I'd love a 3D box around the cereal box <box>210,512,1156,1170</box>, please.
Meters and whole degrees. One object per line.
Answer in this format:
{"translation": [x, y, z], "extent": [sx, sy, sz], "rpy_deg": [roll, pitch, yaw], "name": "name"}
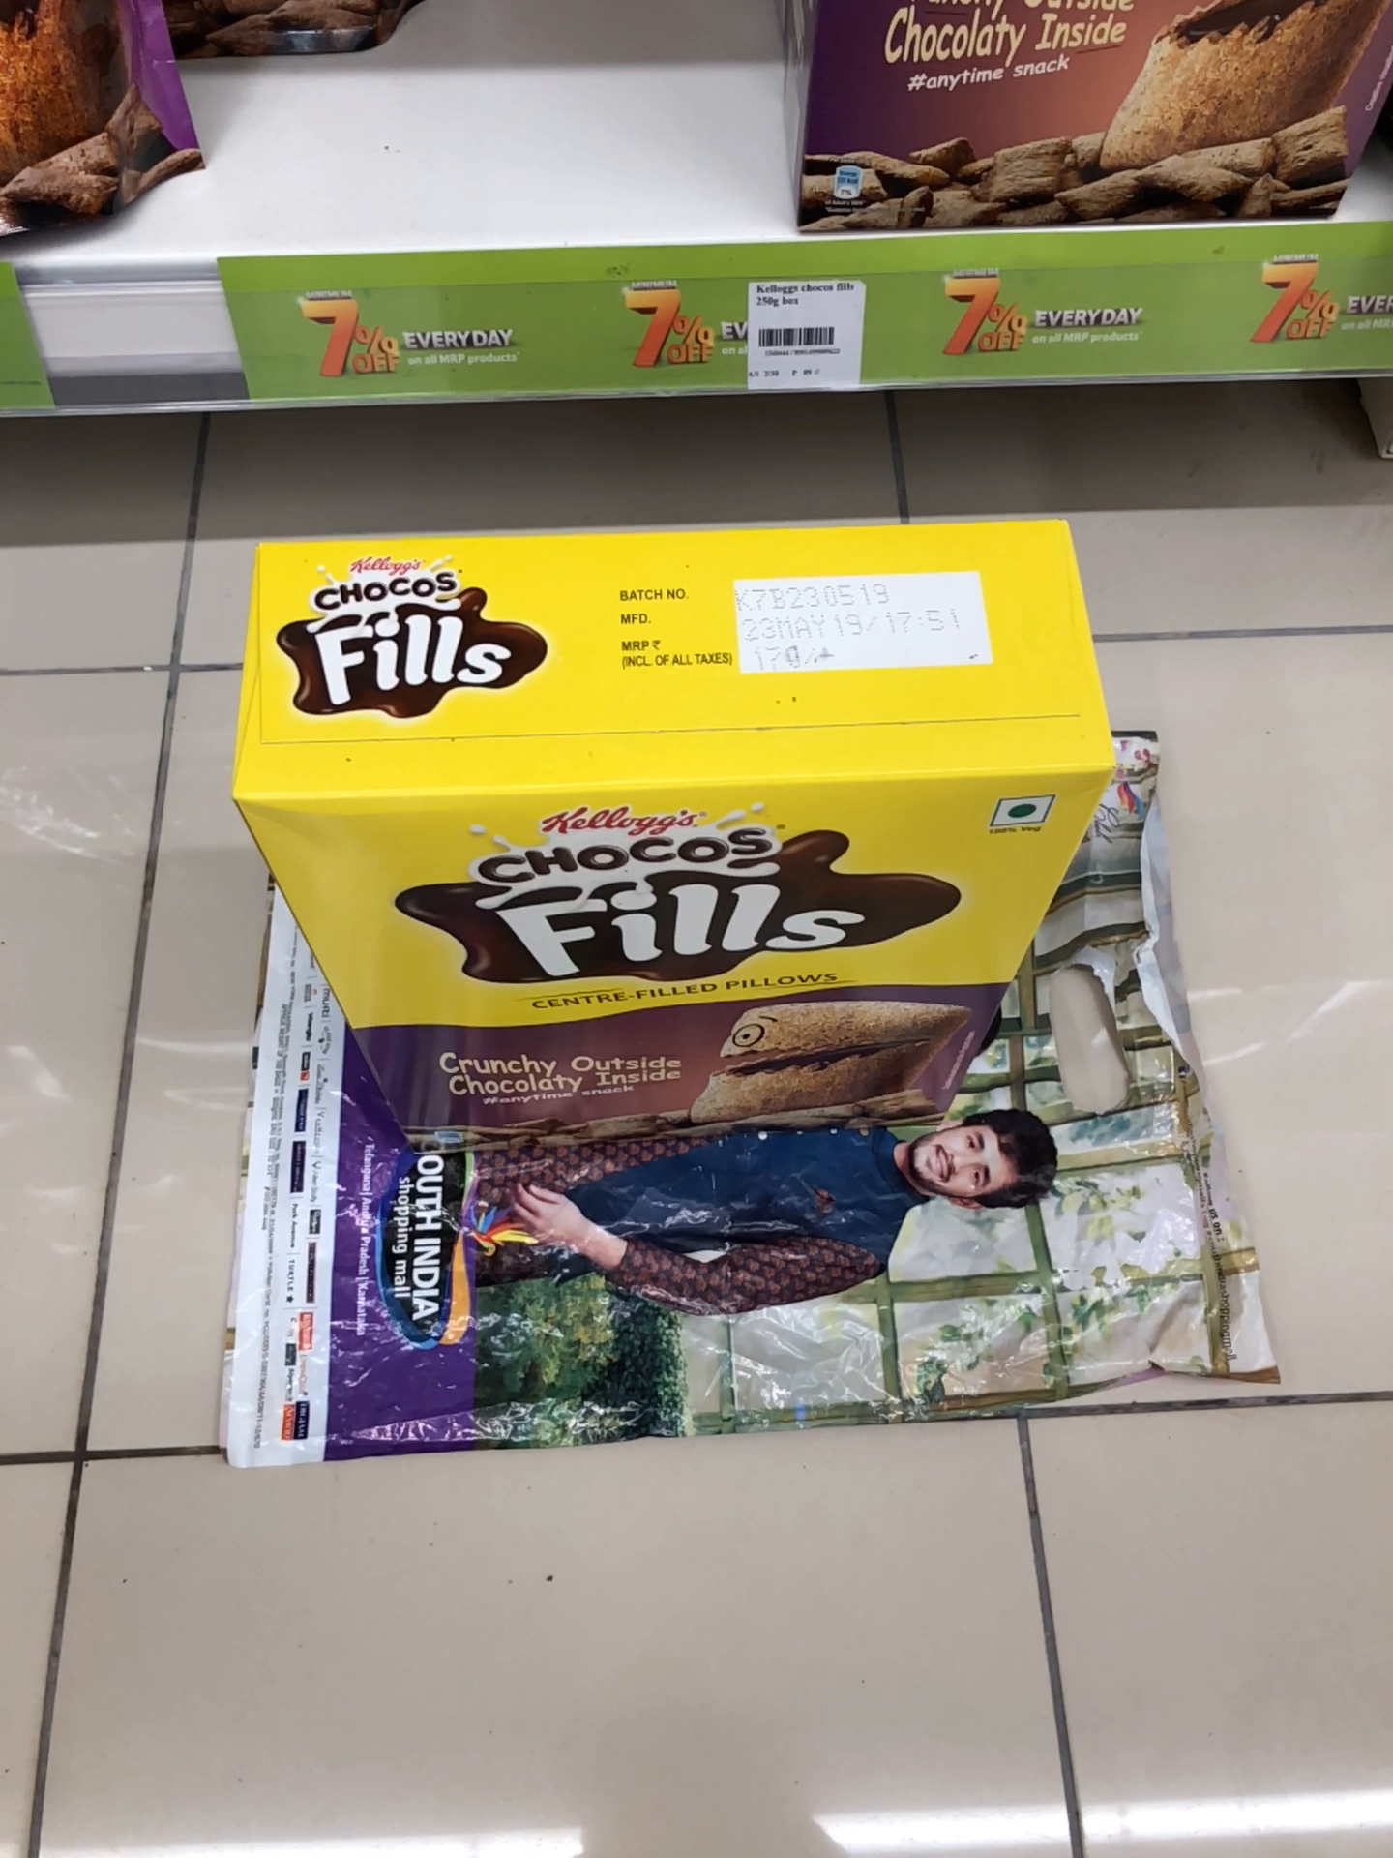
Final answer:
{"translation": [-0.004, -0.006, 0.427], "extent": [0.190, 0.229, 0.070], "rpy_deg": [-3, 64, -2], "name": "cereal box"}
